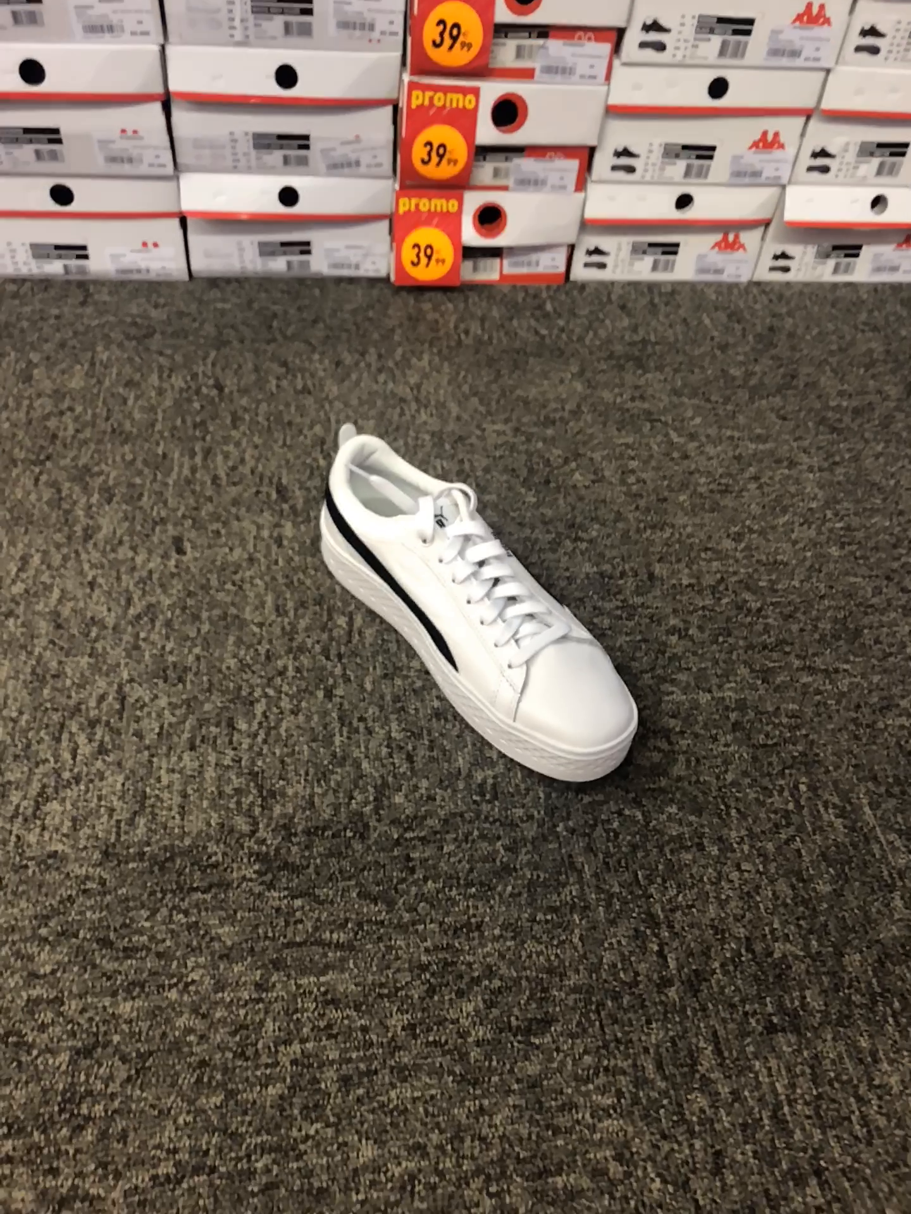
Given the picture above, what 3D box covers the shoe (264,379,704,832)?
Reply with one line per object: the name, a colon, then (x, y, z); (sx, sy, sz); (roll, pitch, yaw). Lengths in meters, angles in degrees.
shoe: (0.003, -0.015, 0.640); (0.111, 0.089, 0.290); (-28, 58, -28)
